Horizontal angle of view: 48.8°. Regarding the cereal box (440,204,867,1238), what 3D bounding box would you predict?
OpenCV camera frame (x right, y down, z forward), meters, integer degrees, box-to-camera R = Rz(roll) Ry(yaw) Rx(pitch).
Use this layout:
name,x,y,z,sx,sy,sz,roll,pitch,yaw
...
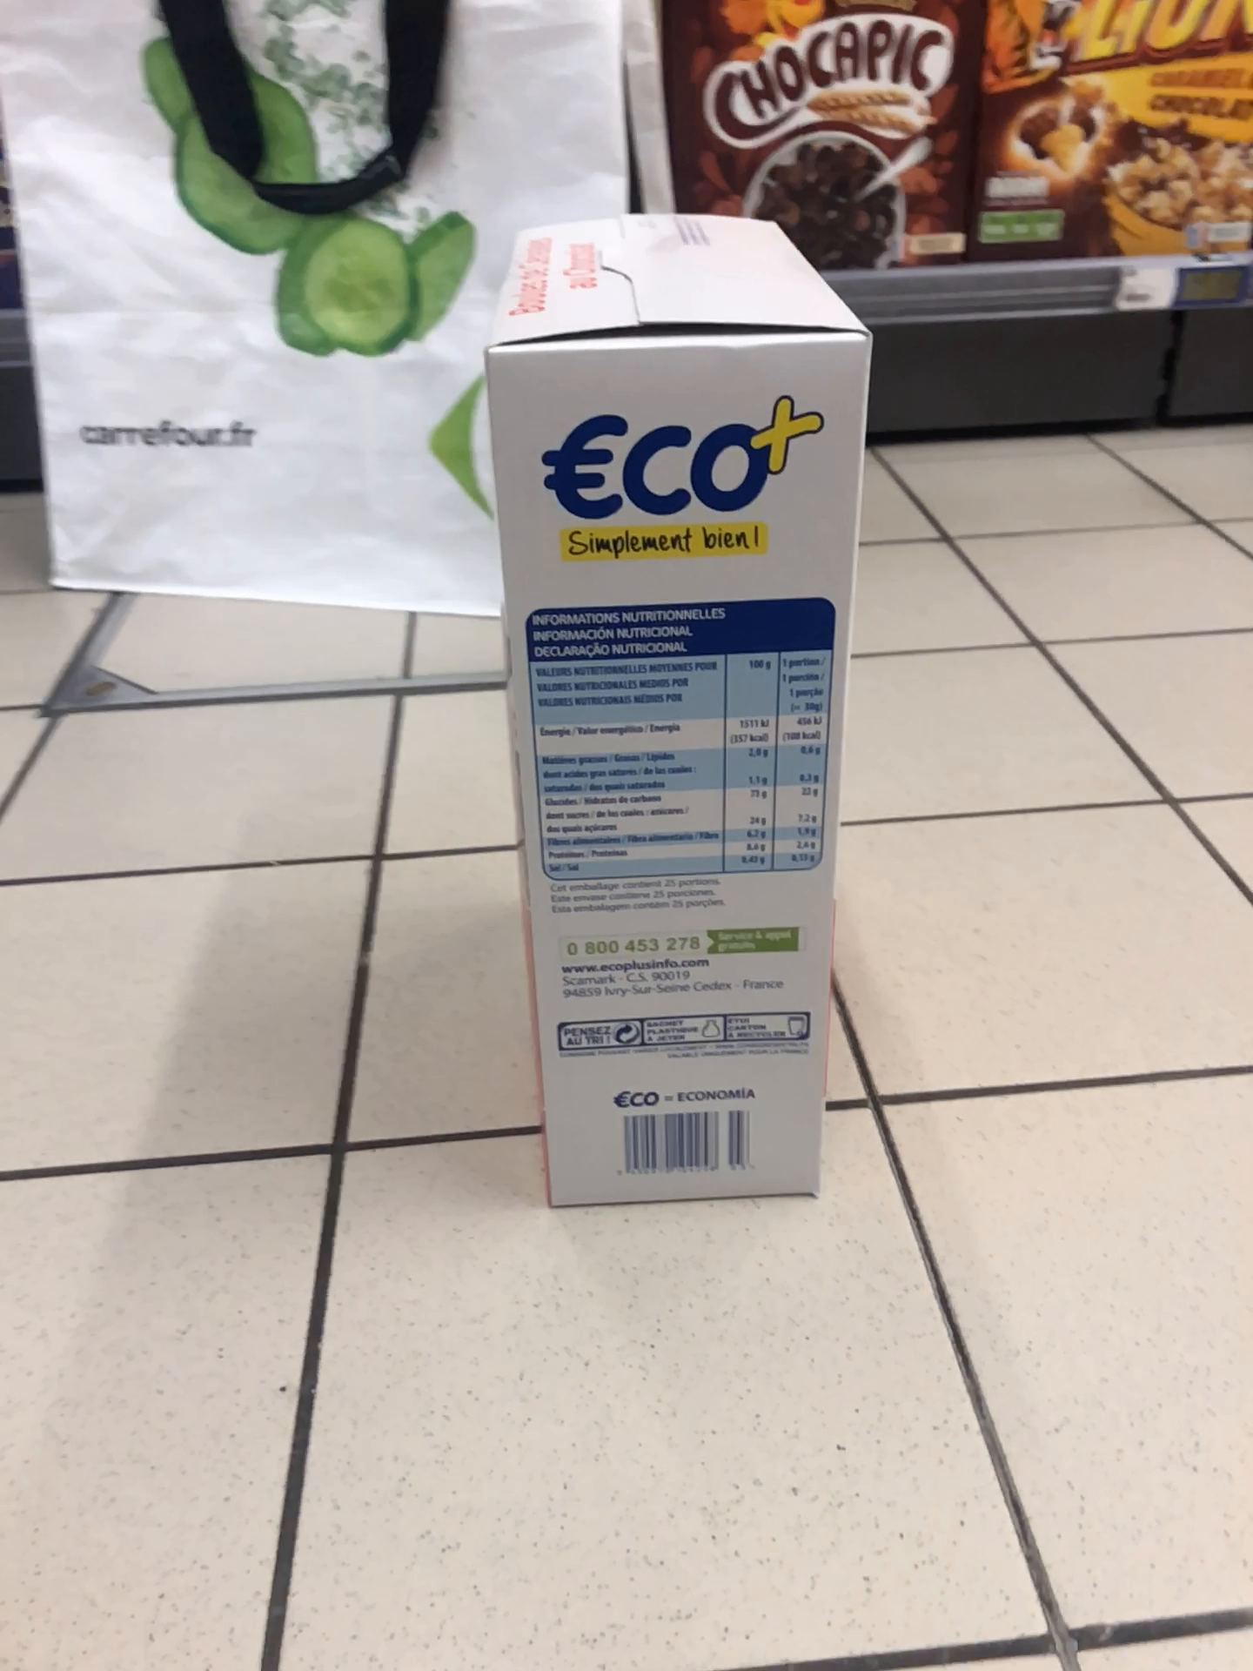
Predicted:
name,x,y,z,sx,sy,sz,roll,pitch,yaw
cereal box,0.009,-0.047,0.488,0.100,0.298,0.211,-2,30,0
